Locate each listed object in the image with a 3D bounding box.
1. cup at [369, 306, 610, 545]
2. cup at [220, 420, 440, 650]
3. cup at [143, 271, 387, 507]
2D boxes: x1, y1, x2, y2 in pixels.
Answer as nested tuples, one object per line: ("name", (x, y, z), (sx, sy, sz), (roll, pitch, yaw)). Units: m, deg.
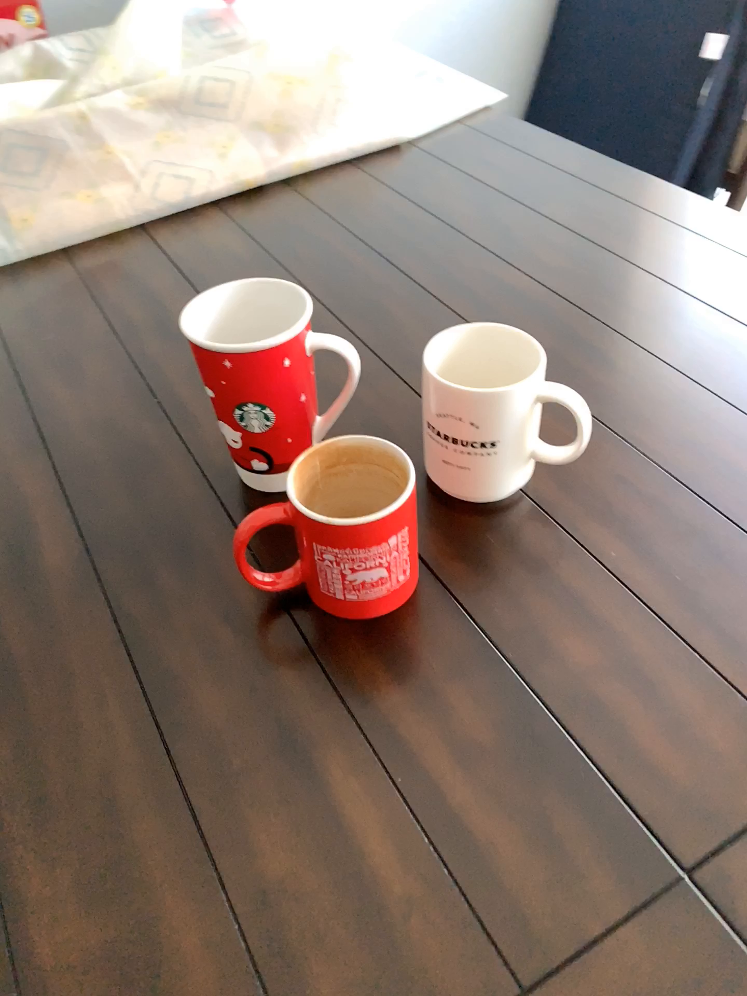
("cup", (0.086, -0.058, 0.580), (0.140, 0.109, 0.100), (19, 50, 23))
("cup", (-0.028, 0.023, 0.503), (0.120, 0.090, 0.090), (-12, 45, -6))
("cup", (-0.071, -0.082, 0.582), (0.140, 0.139, 0.100), (4, 46, 10))
